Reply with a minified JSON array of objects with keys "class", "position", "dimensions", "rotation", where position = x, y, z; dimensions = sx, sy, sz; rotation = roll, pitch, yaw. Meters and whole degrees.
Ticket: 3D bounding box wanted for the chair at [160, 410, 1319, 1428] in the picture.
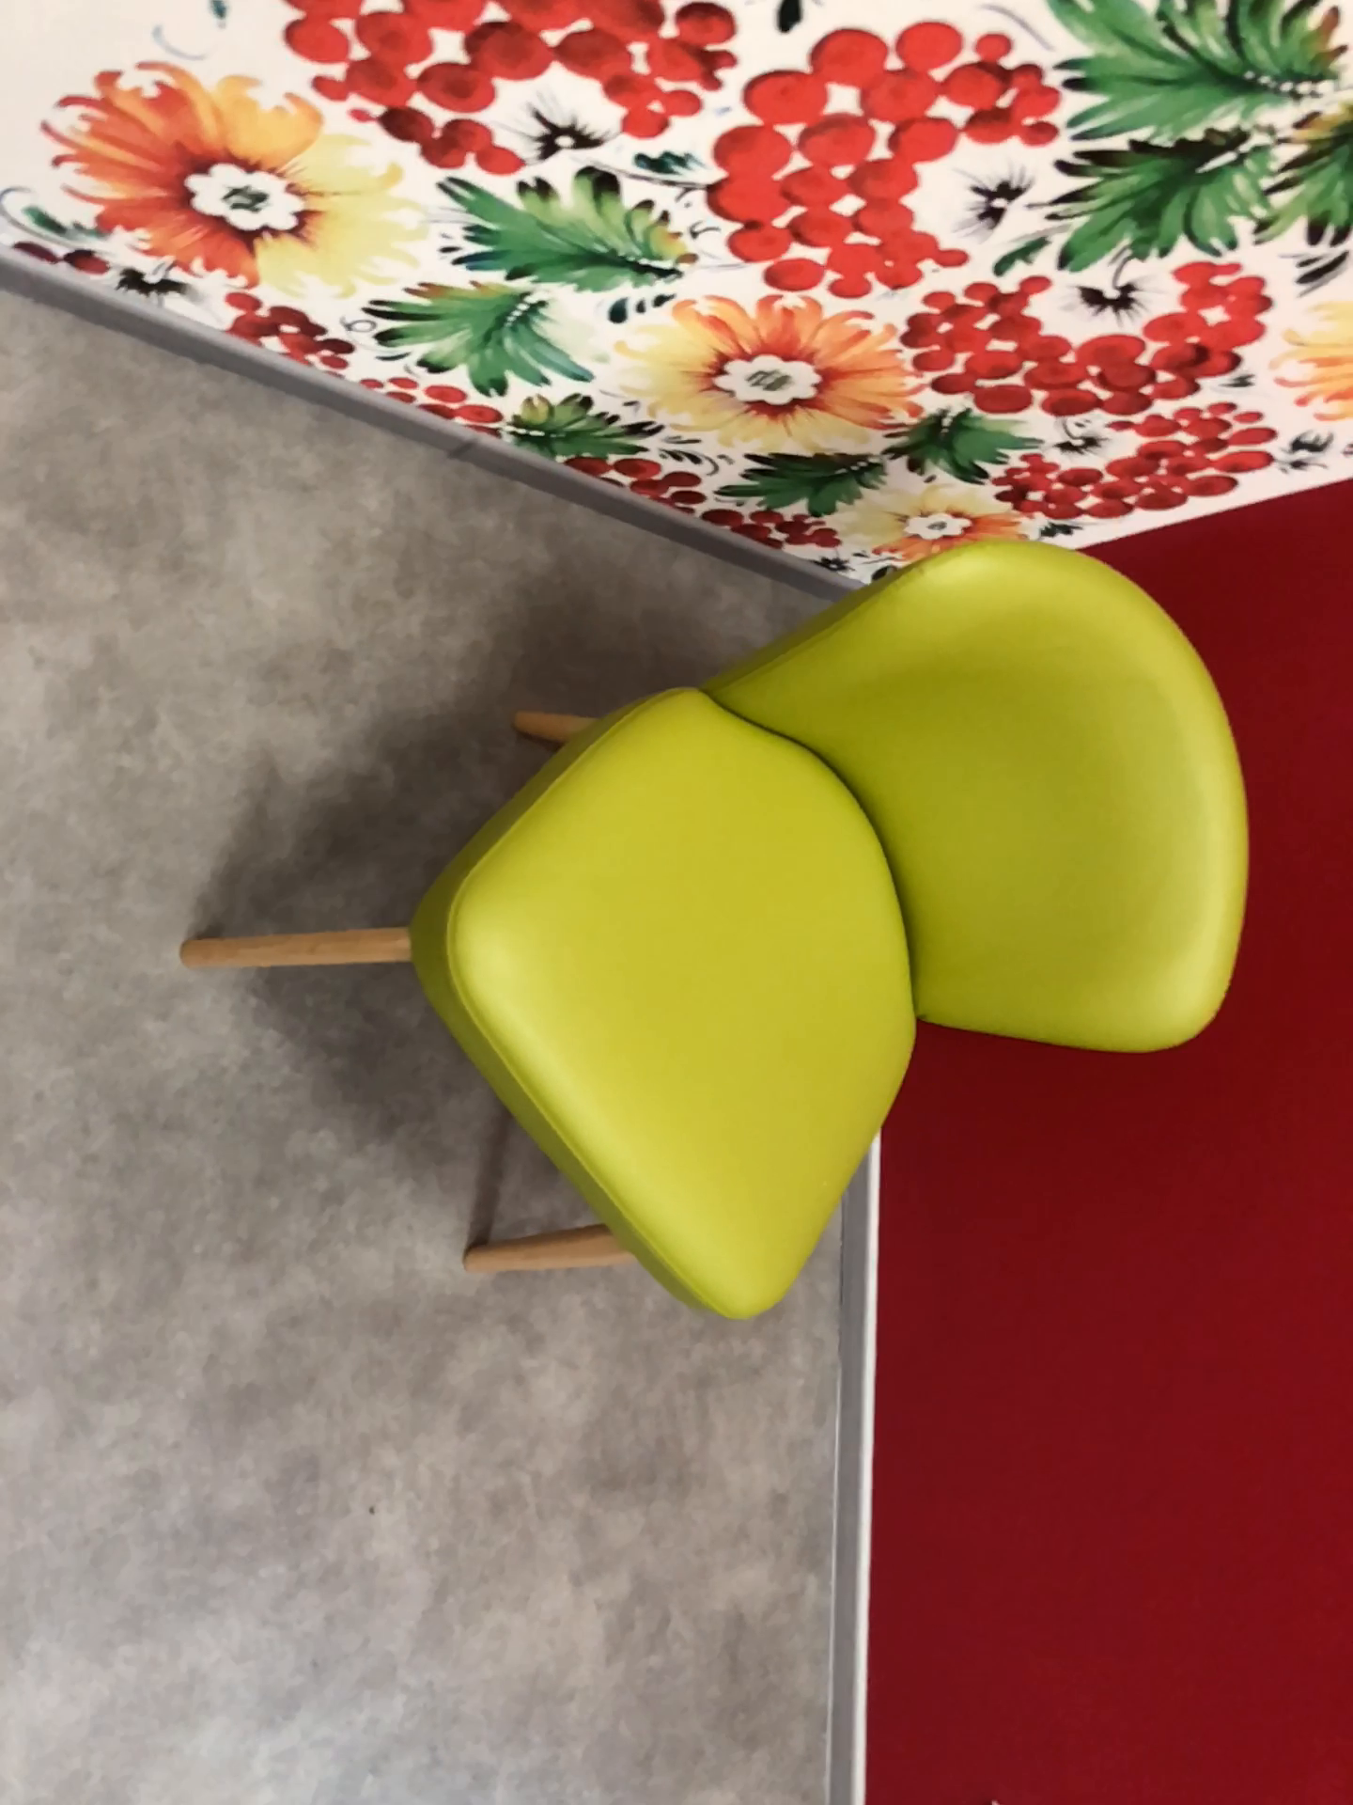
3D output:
[{"class":"chair","position":[0.051,0.018,1.392],"dimensions":[0.572,0.776,0.521],"rotation":[-51,119,-33]}]
